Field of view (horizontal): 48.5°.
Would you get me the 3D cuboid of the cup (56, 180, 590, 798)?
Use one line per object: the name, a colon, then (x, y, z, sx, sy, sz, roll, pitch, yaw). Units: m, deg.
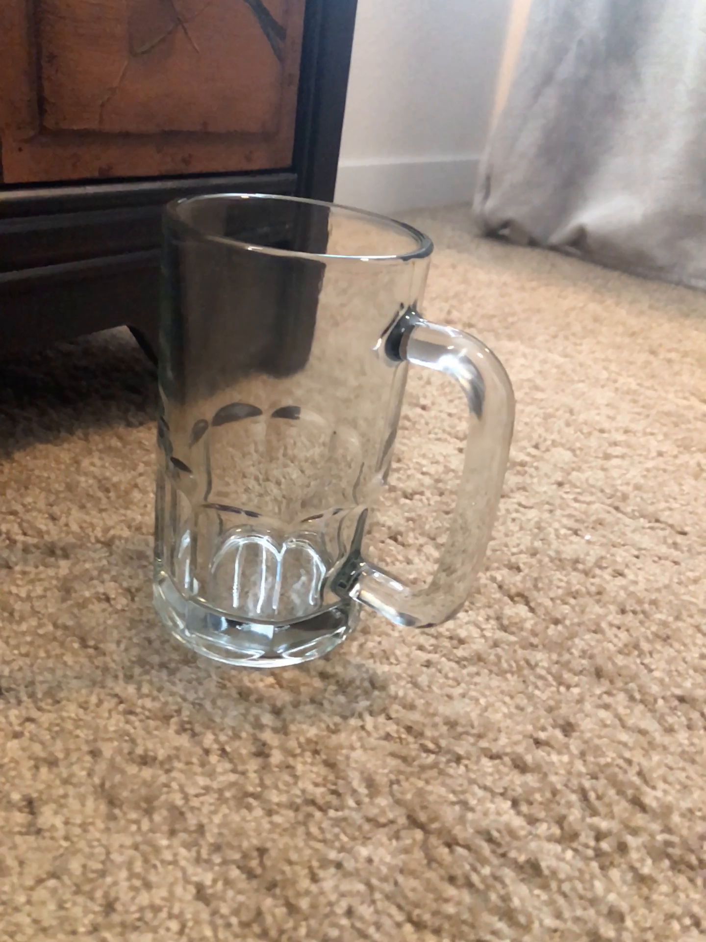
cup: (-0.017, -0.008, 0.272, 0.133, 0.156, 0.097, 22, 28, 26)
